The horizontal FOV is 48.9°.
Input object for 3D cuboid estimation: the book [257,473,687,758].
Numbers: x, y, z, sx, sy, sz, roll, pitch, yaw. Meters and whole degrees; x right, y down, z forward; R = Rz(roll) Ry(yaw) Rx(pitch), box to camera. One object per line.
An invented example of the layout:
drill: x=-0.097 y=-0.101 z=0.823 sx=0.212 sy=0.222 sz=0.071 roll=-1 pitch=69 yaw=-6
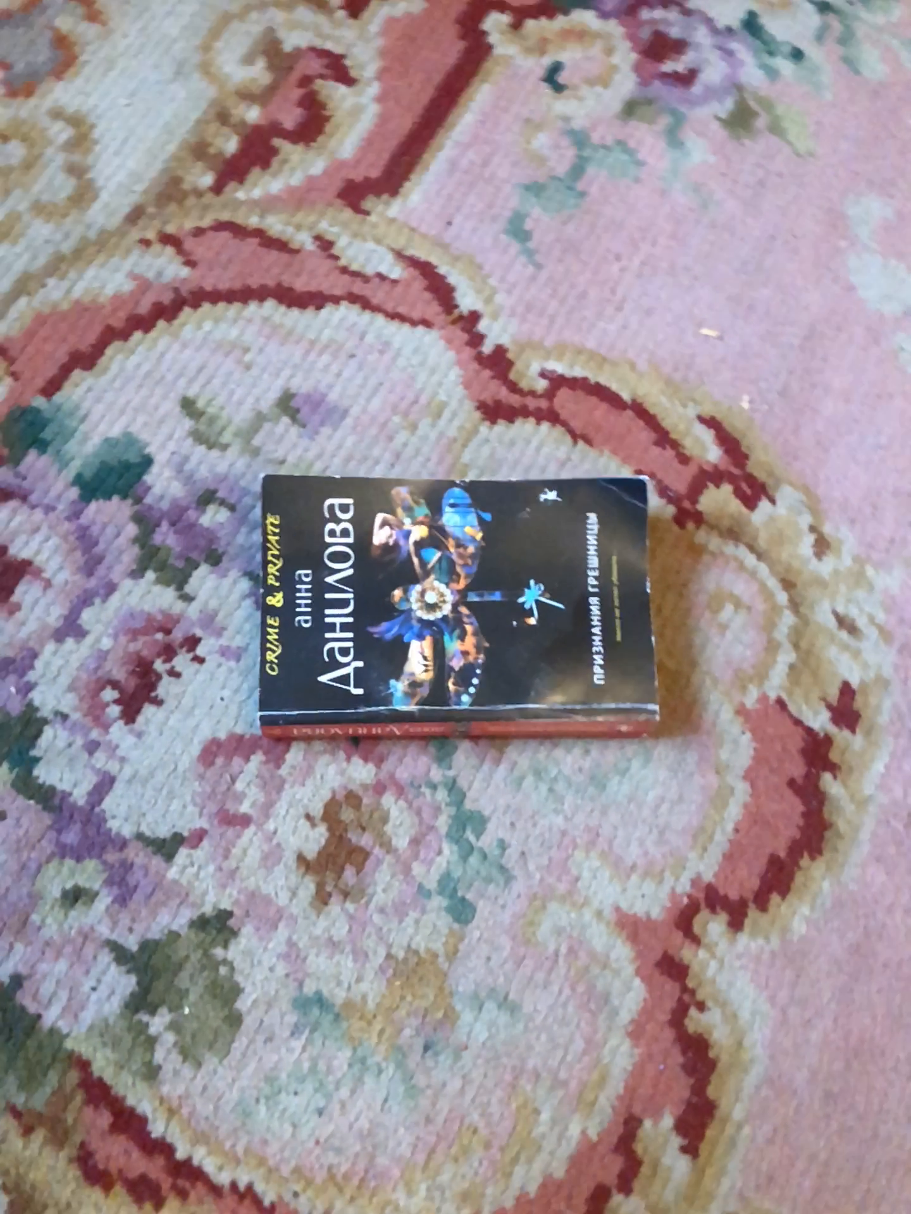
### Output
book: x=0.005 y=0.004 z=0.422 sx=0.165 sy=0.050 sz=0.110 roll=0 pitch=74 yaw=-3
